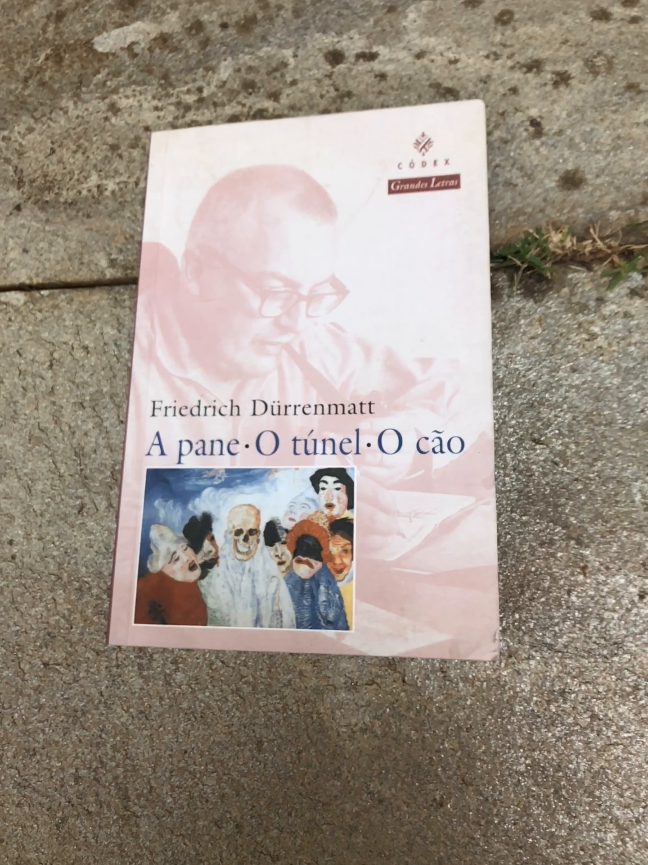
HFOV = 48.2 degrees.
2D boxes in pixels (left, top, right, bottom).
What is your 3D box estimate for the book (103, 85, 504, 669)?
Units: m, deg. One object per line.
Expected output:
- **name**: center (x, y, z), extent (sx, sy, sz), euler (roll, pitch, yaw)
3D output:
- **book**: center (-0.005, -0.026, 0.274), extent (0.138, 0.020, 0.210), euler (0, 79, 10)
